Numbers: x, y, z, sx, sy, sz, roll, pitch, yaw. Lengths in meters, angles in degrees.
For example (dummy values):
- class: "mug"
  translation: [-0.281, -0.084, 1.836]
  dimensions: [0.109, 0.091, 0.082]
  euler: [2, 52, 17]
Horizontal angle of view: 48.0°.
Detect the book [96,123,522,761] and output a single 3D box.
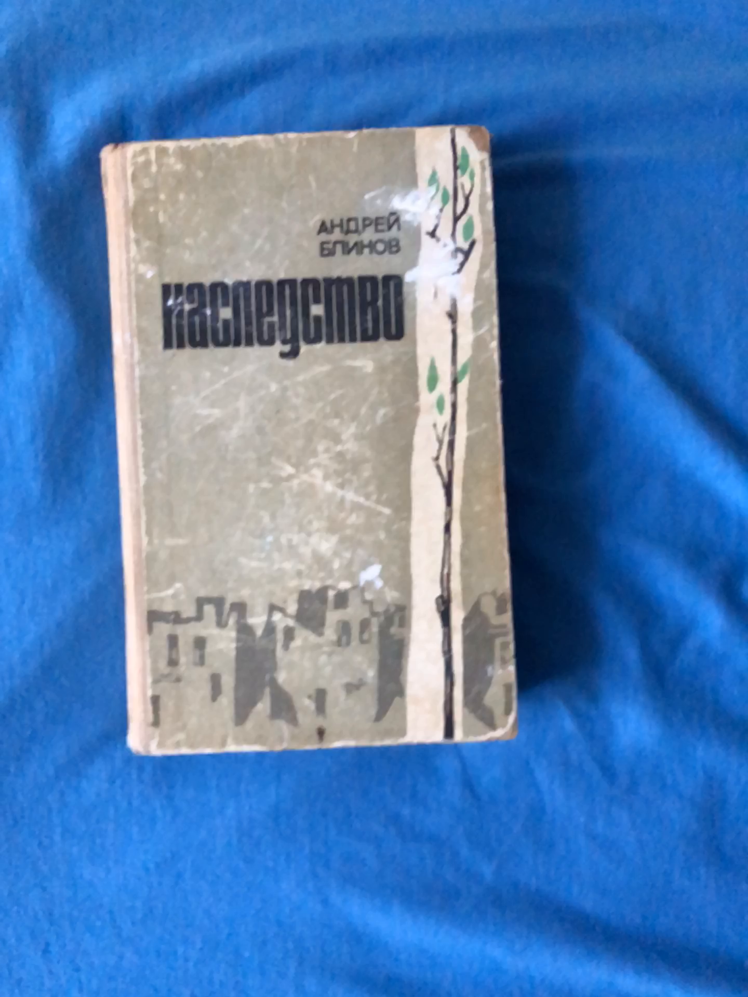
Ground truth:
- class: "book"
  translation: [-0.022, -0.019, 0.287]
  dimensions: [0.130, 0.040, 0.200]
  euler: [-2, 88, -2]
